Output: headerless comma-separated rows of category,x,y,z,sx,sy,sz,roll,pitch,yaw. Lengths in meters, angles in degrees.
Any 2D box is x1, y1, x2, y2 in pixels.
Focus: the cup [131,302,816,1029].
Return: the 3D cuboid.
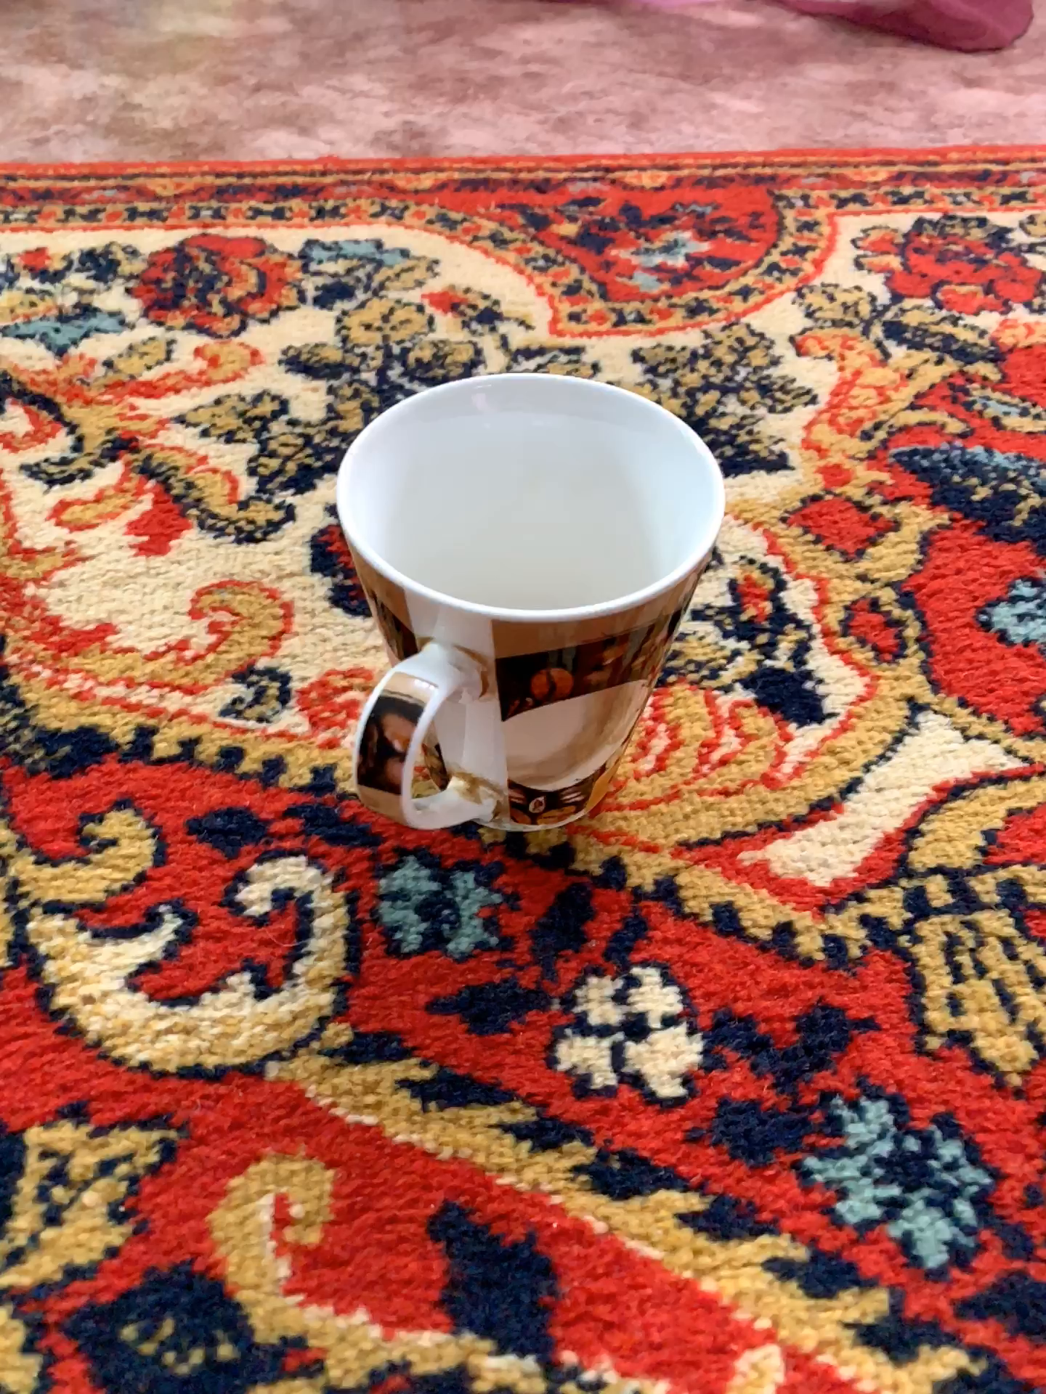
cup,-0.003,-0.013,0.226,0.080,0.079,0.111,23,50,19
